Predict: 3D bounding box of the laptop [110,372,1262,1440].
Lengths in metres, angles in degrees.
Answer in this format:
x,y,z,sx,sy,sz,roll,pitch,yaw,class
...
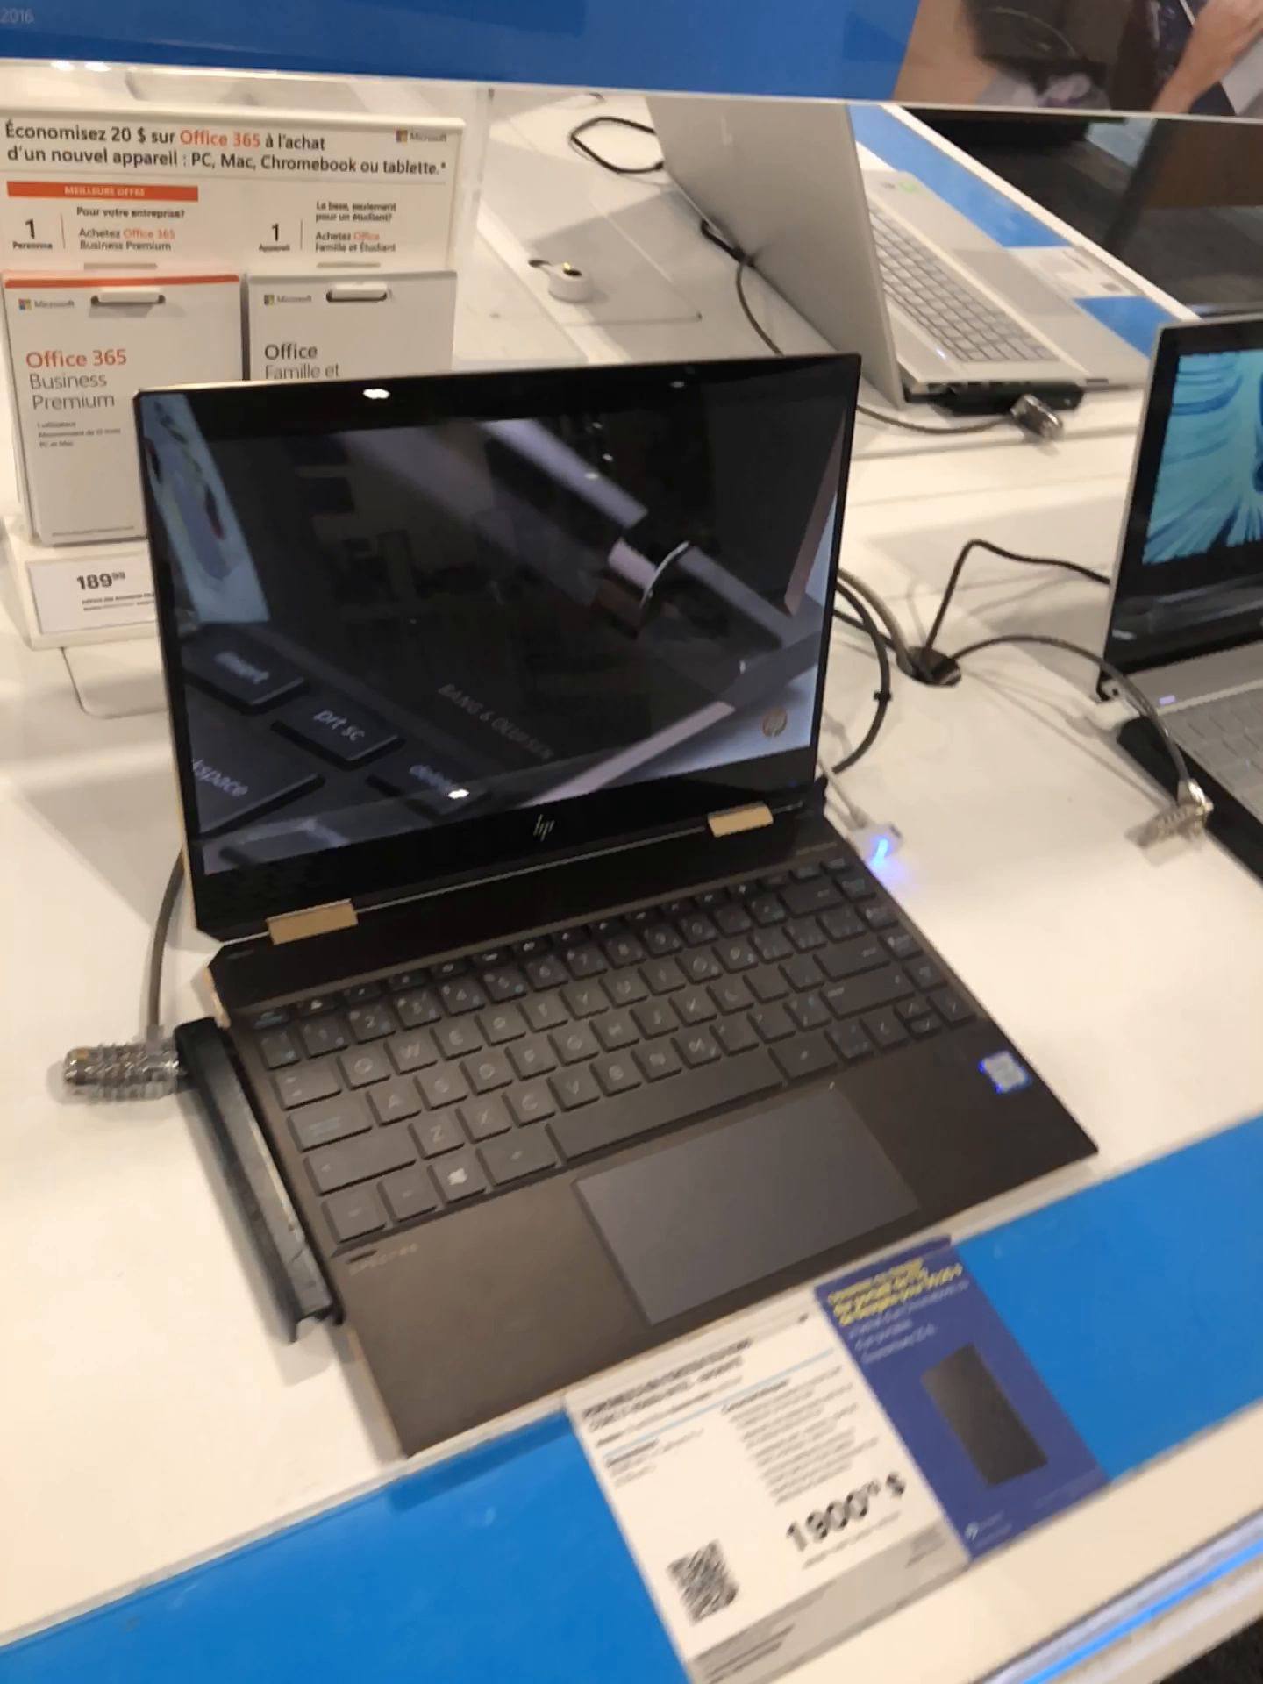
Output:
x,y,z,sx,sy,sz,roll,pitch,yaw,class
0.009,-0.008,0.510,0.297,0.197,0.285,-13,50,-28,laptop
